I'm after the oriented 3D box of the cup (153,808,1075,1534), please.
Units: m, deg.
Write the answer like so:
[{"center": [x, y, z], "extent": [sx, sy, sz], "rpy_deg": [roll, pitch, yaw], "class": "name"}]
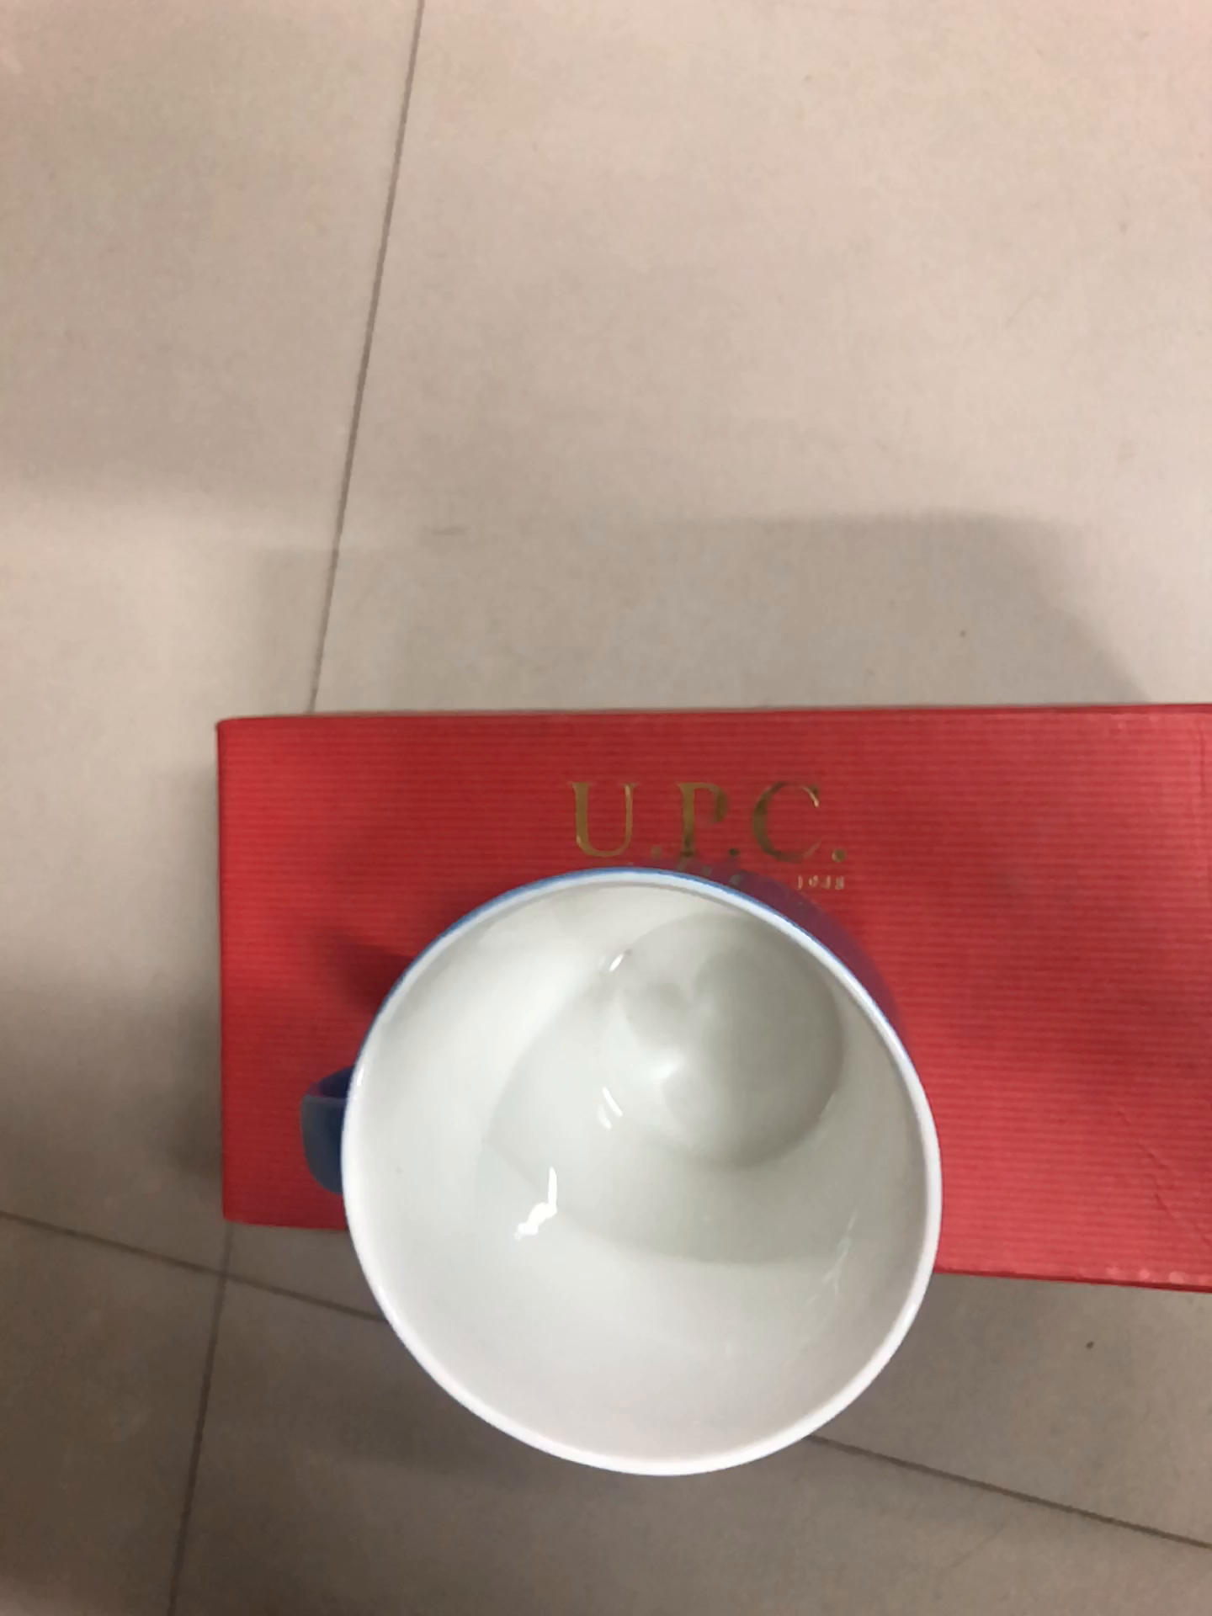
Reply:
[{"center": [0.006, 0.050, 0.216], "extent": [0.110, 0.080, 0.080], "rpy_deg": [-10, 90, 13], "class": "cup"}]
